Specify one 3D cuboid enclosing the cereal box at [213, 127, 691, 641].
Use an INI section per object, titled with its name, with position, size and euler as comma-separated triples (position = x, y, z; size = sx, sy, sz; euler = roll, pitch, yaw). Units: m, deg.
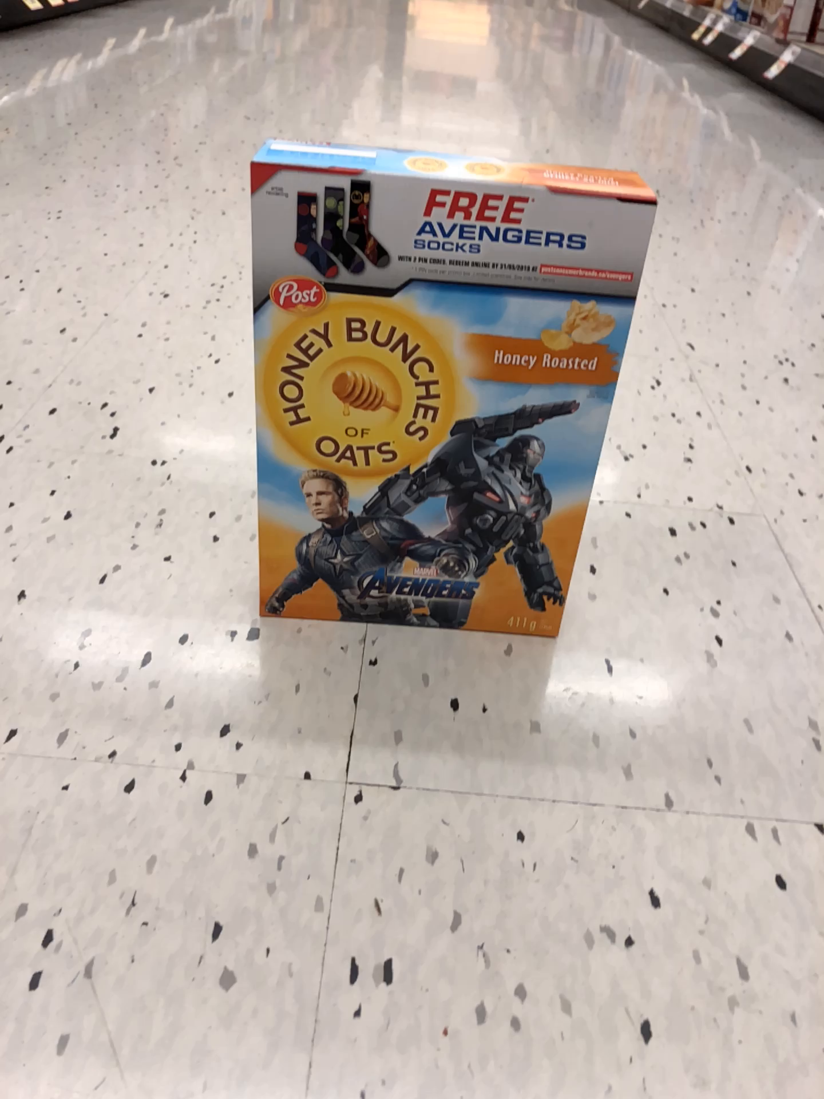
[cereal box]
position = 0.008, -0.075, 0.494
size = 0.210, 0.258, 0.060
euler = 4, 35, -3
